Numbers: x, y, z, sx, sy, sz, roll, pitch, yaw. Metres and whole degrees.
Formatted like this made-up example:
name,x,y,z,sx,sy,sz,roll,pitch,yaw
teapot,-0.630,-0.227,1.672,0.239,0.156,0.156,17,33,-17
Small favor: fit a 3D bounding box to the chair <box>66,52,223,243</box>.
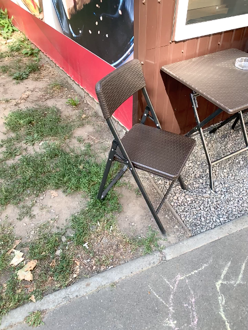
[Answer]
name,x,y,z,sx,sy,sz,roll,pitch,yaw
chair,0.111,-0.091,1.234,0.471,0.687,0.471,19,46,22
